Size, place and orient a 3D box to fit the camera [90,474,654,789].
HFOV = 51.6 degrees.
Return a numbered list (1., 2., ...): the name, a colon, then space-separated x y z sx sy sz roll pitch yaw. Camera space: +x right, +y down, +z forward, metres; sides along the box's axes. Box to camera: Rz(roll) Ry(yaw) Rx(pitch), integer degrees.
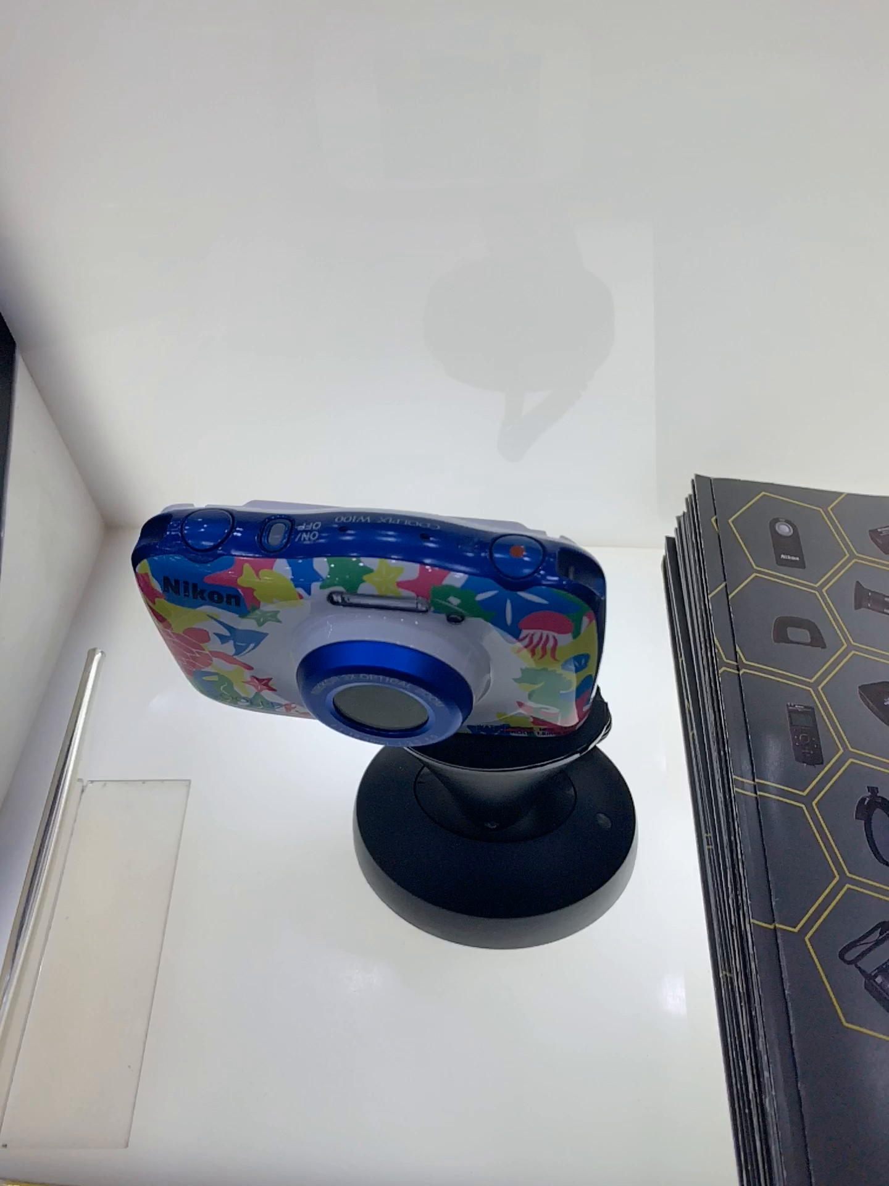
1. camera: -0.013 0.010 0.228 0.120 0.060 0.040 5 53 6
